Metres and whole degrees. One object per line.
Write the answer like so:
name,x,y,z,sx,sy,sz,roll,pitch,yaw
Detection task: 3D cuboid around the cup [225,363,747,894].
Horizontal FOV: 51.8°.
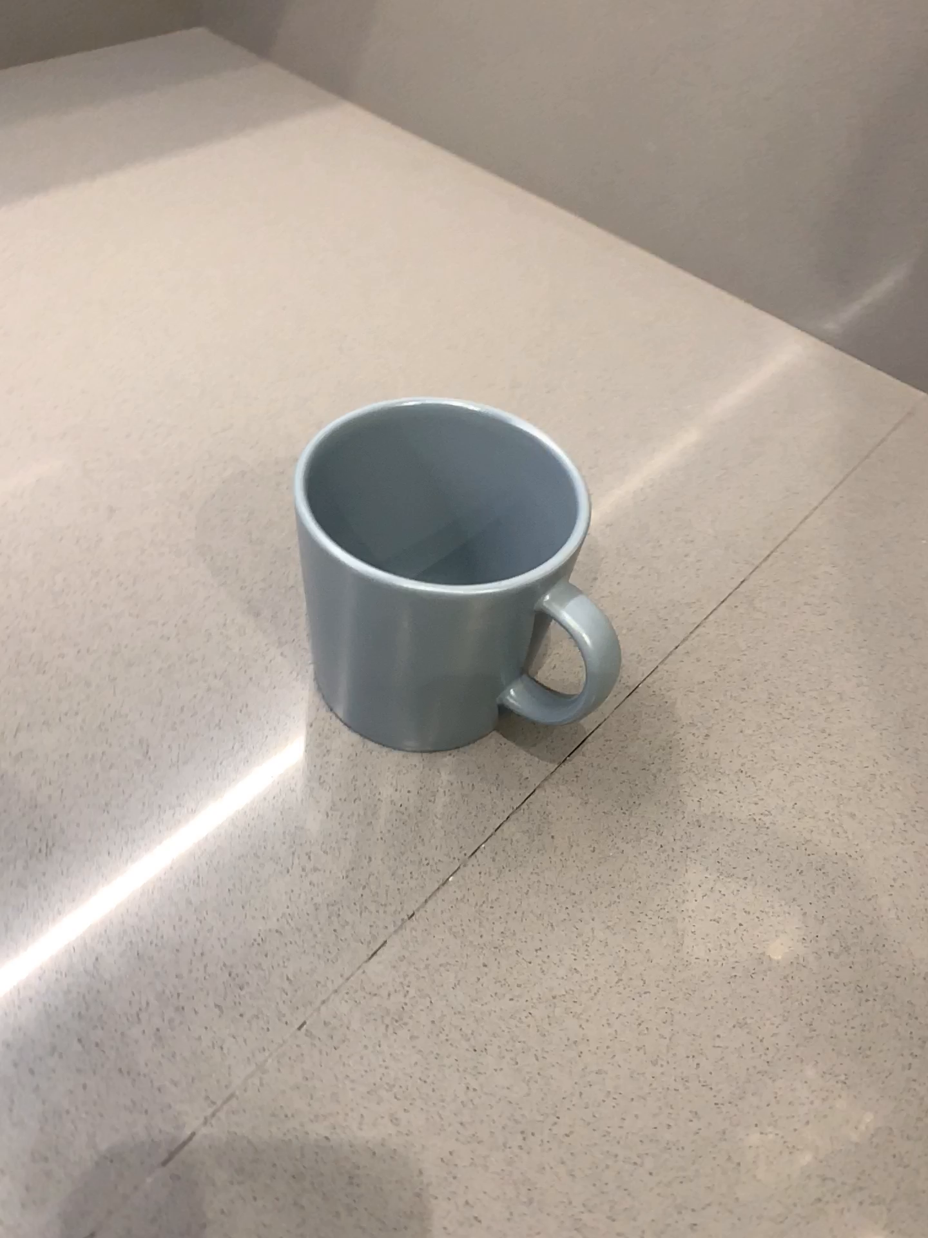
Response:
cup,0.002,-0.001,0.319,0.130,0.090,0.090,36,53,21
